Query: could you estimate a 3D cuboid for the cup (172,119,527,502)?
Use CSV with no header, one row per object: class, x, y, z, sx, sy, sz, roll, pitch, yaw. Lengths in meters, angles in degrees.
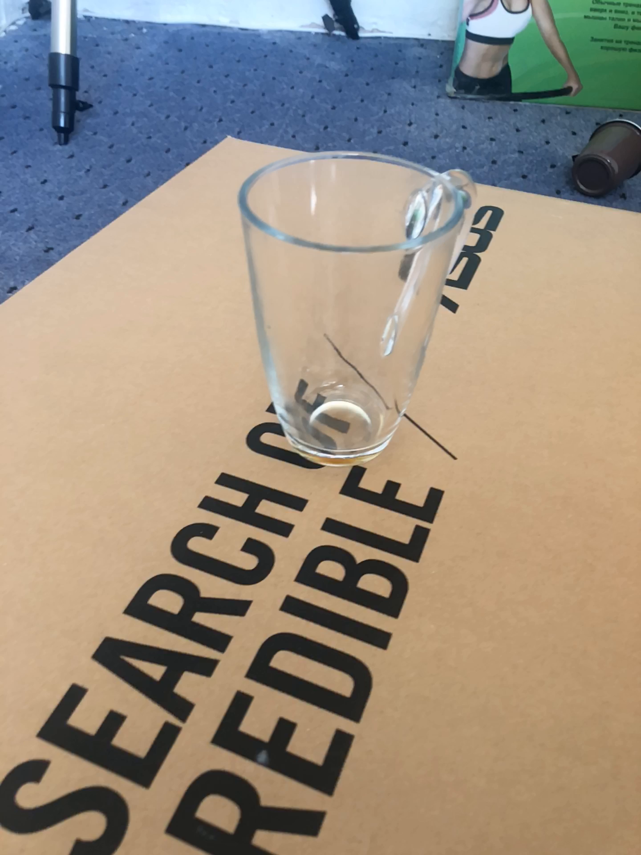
cup,0.015,-0.052,0.277,0.080,0.090,0.110,22,45,23
